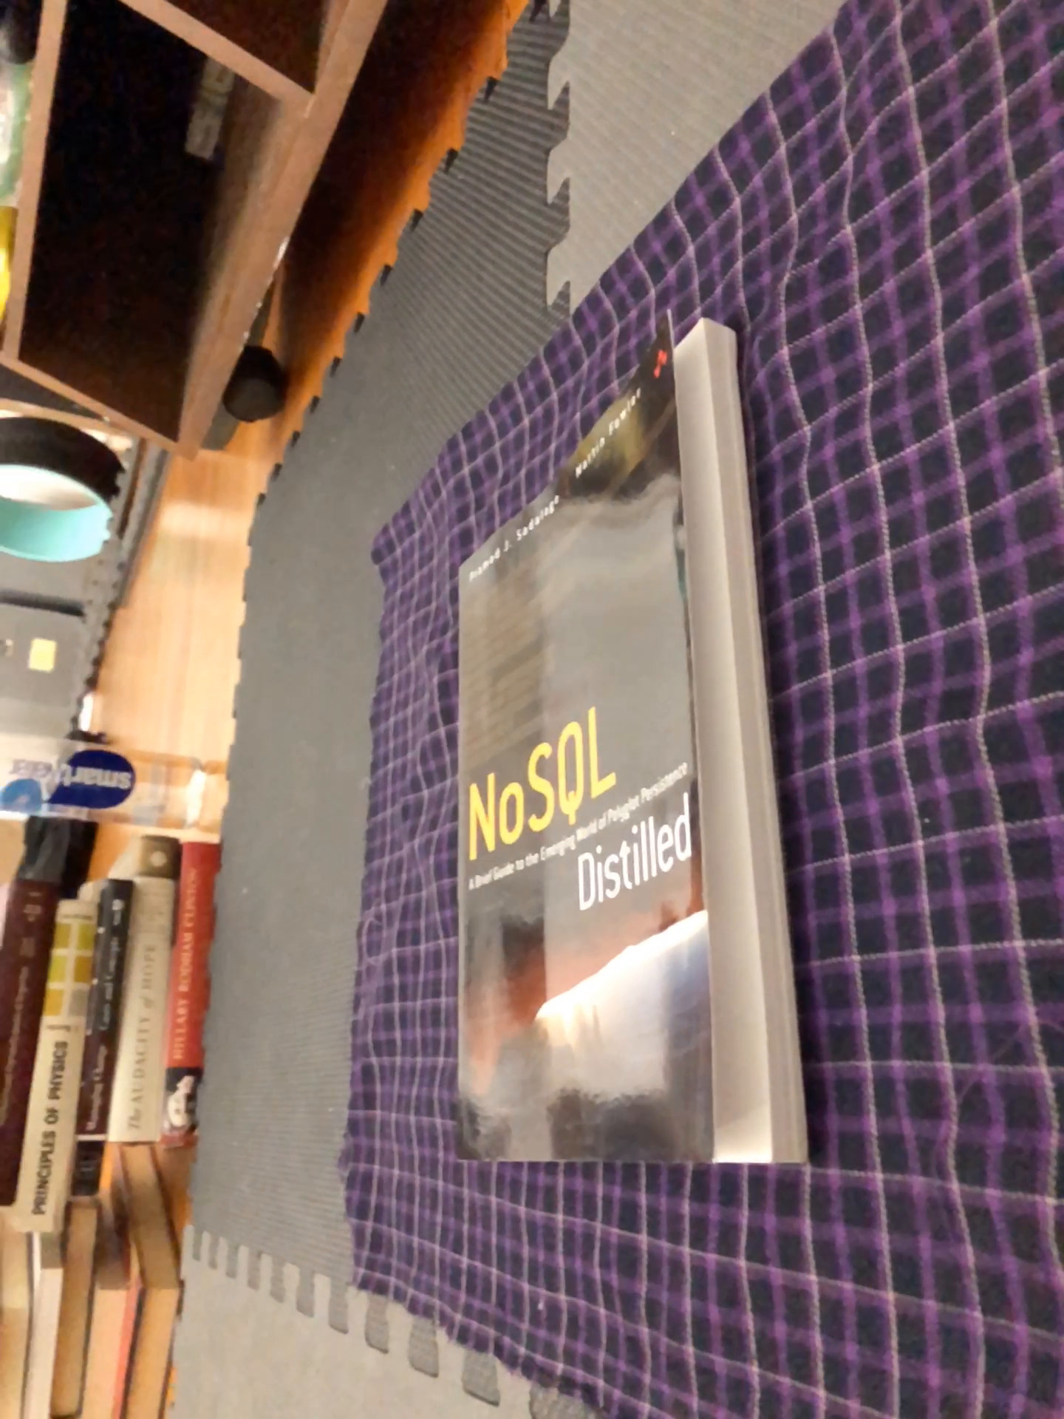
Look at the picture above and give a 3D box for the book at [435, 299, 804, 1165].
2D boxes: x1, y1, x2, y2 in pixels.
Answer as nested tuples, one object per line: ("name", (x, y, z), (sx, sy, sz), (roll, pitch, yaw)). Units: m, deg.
("book", (0.014, 0.022, 0.403), (0.190, 0.020, 0.250), (143, 132, -57))
